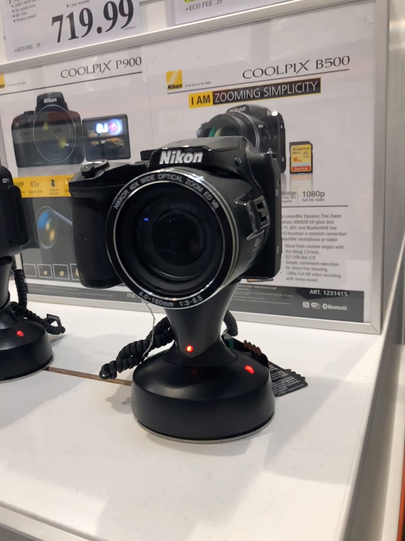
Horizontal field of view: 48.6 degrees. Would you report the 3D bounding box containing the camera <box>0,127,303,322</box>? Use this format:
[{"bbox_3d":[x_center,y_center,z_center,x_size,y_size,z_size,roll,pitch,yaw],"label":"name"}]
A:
[{"bbox_3d":[-0.019,-0.028,0.227,0.120,0.070,0.100,2,14,22],"label":"camera"}]
